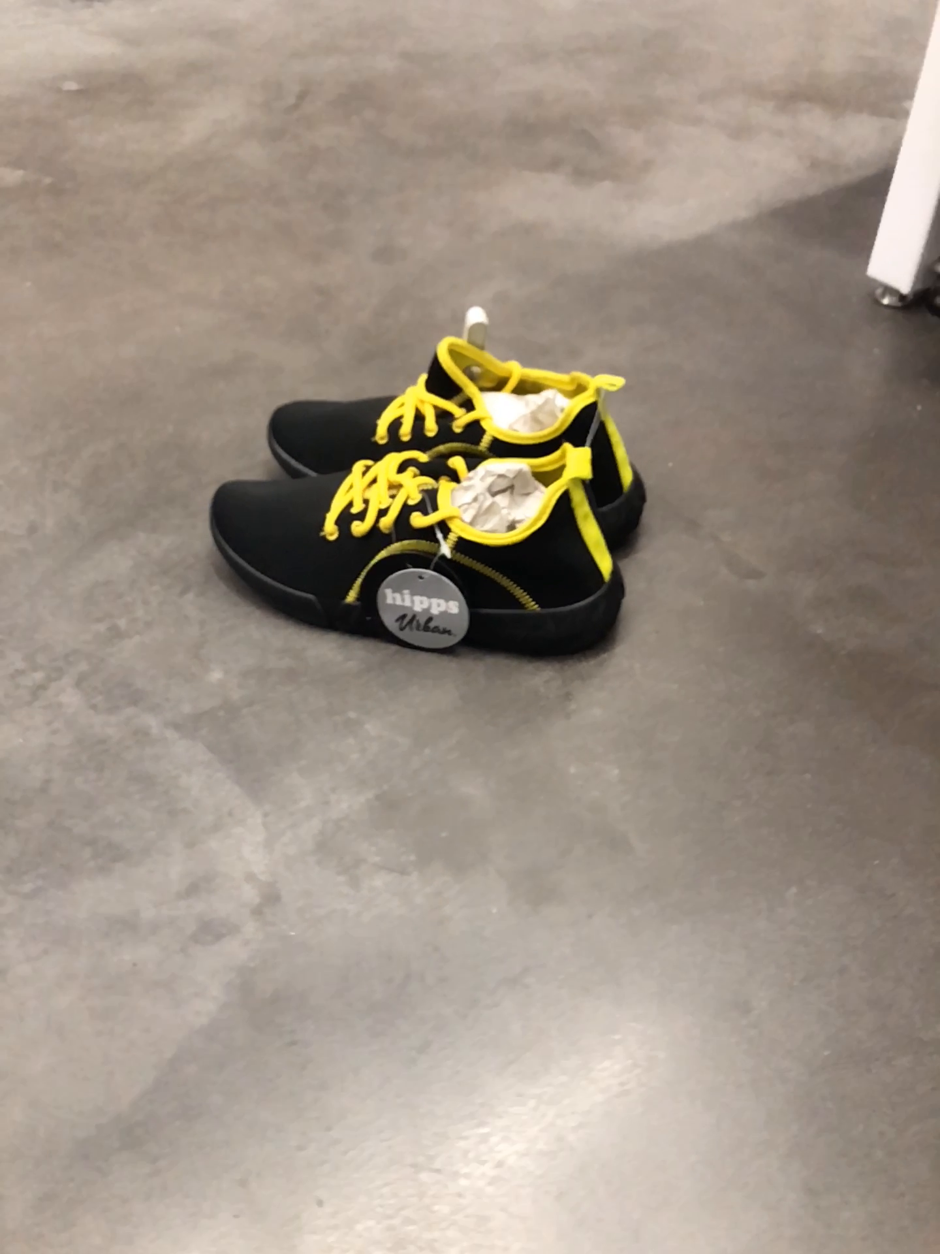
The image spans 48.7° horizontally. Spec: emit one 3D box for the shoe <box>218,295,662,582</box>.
[{"bbox_3d":[-0.015,-0.113,0.610,0.230,0.099,0.091,11,45,12],"label":"shoe"}]

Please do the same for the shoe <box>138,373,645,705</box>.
[{"bbox_3d":[-0.036,-0.049,0.541,0.230,0.099,0.091,11,45,12],"label":"shoe"}]
